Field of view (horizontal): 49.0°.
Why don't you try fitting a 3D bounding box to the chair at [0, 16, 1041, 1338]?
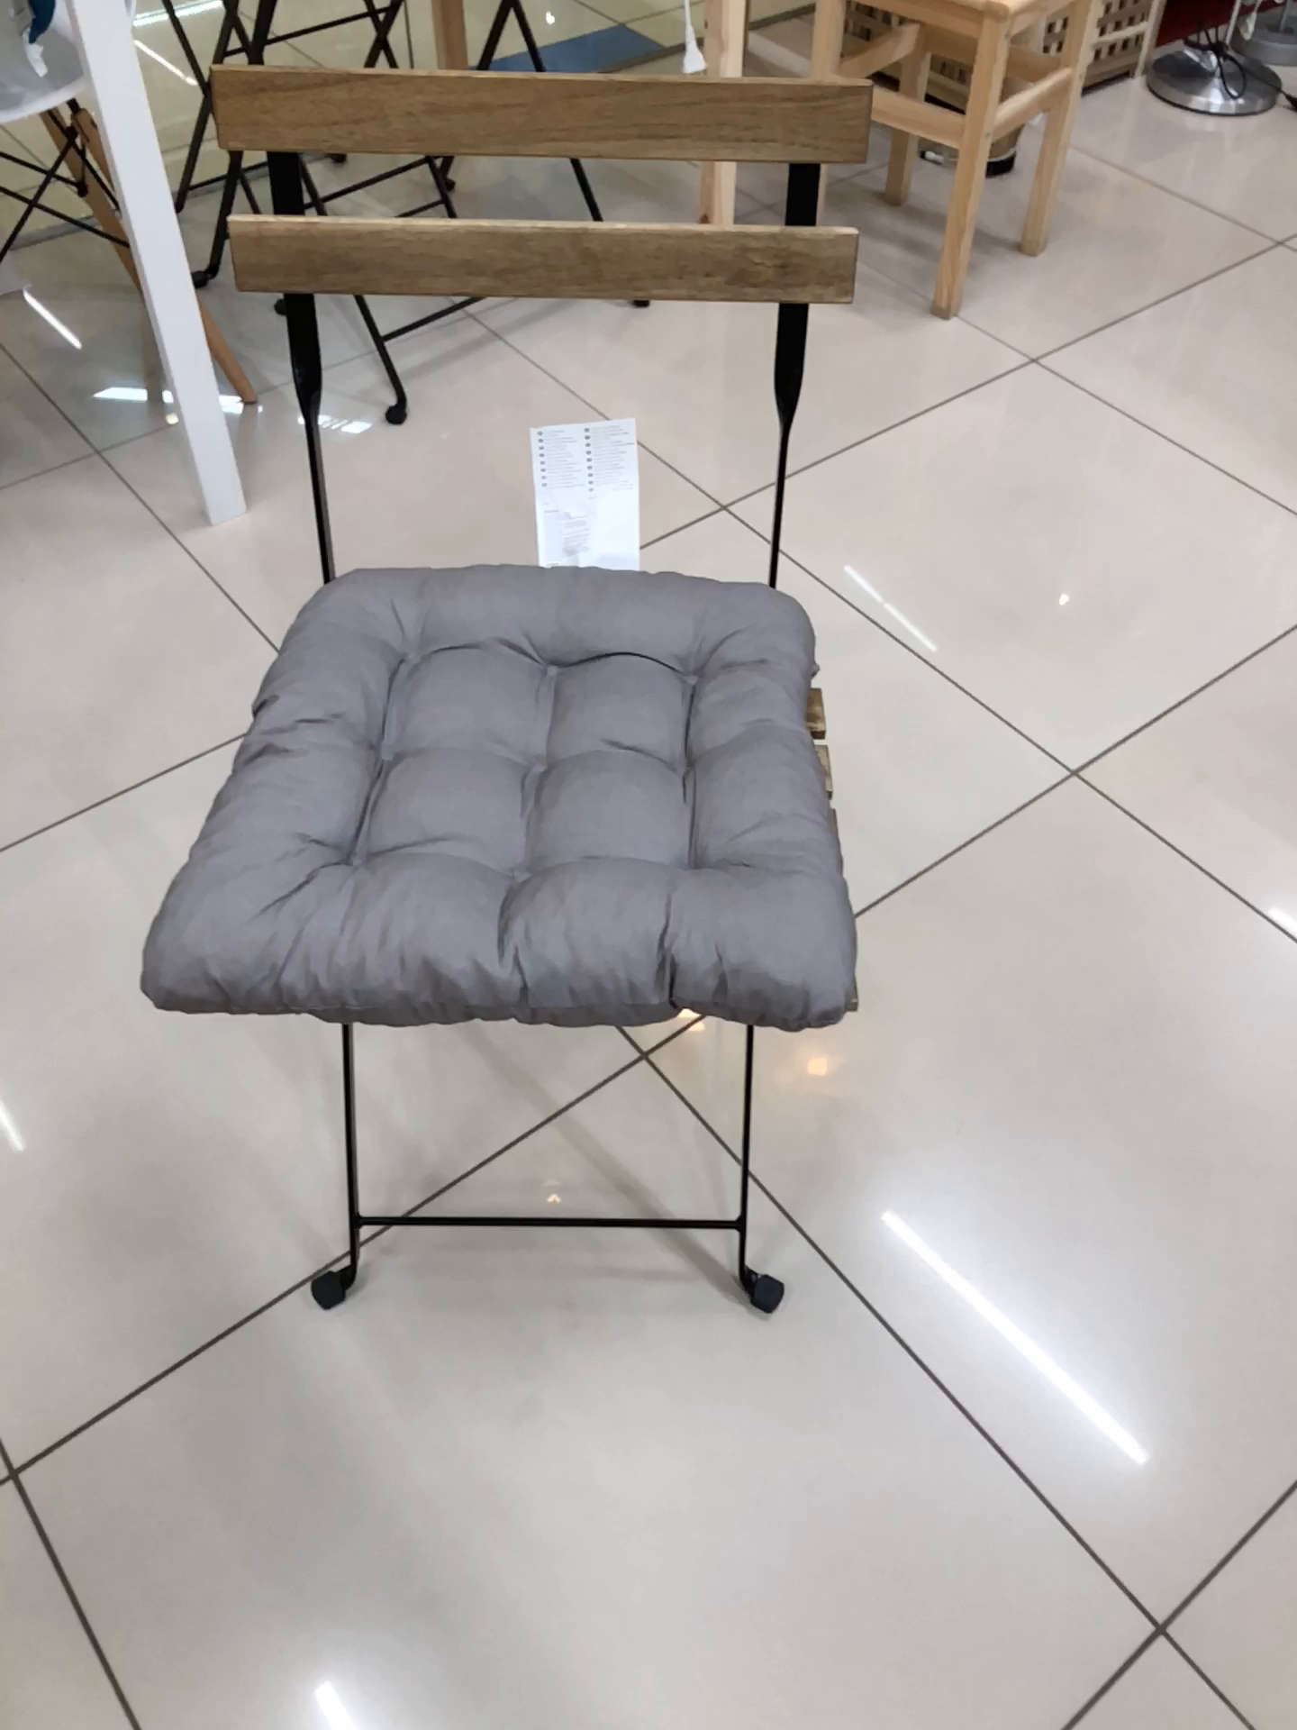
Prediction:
[{"bbox_3d":[-0.087,-0.055,0.943,0.440,0.765,0.443,0,50,-1],"label":"chair"}]
